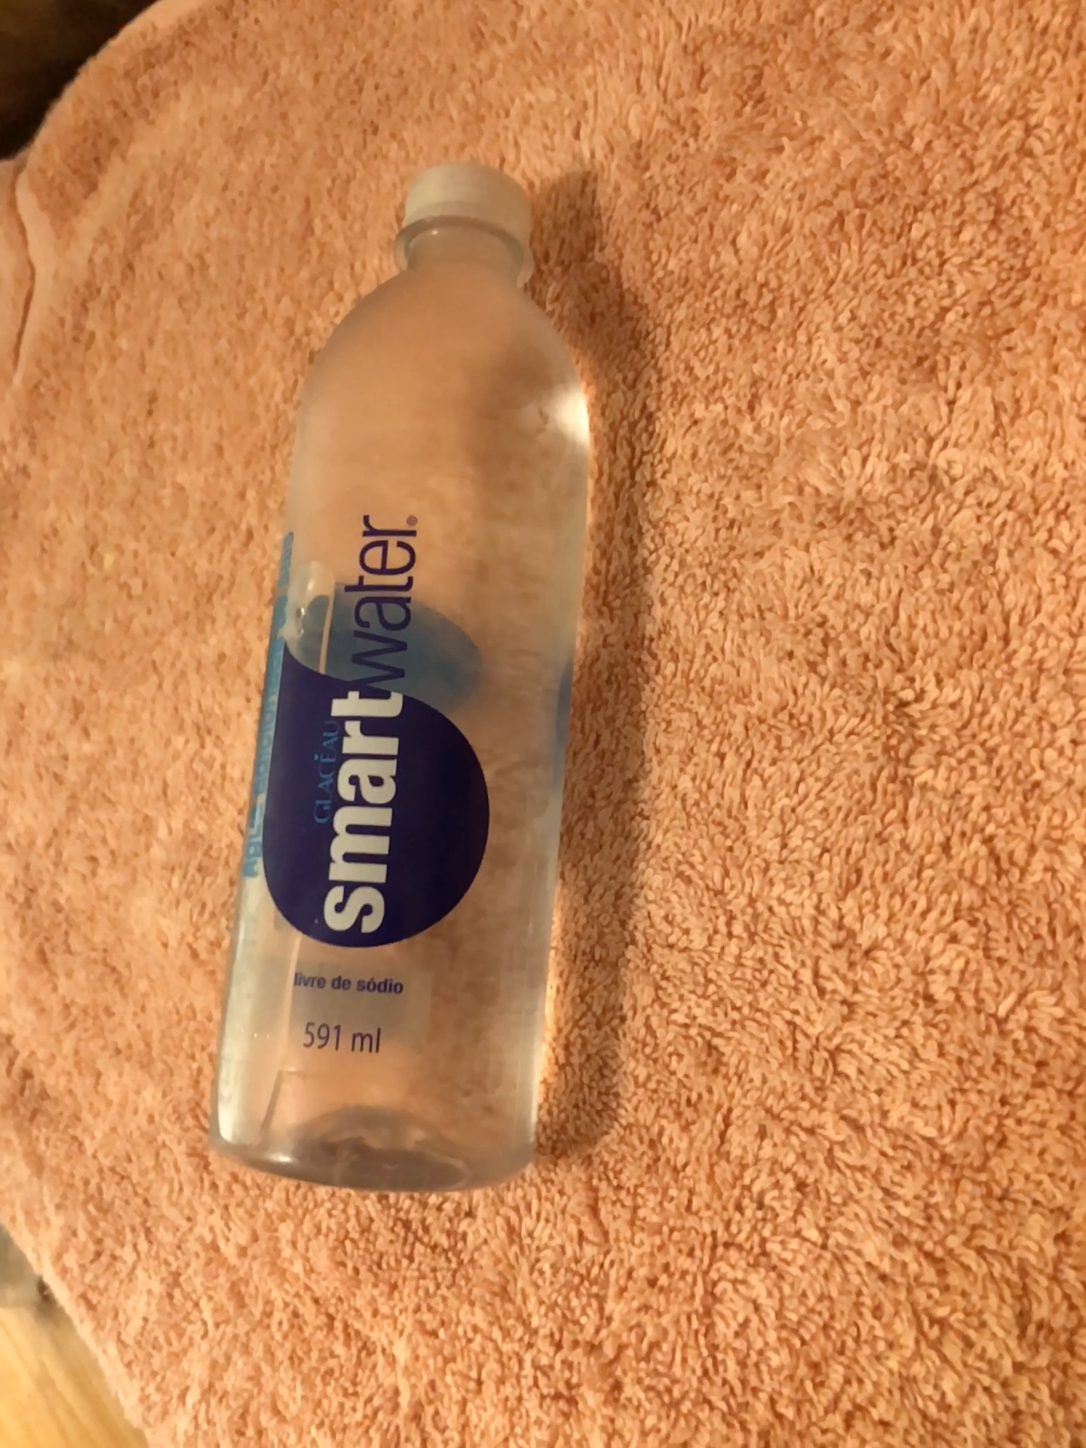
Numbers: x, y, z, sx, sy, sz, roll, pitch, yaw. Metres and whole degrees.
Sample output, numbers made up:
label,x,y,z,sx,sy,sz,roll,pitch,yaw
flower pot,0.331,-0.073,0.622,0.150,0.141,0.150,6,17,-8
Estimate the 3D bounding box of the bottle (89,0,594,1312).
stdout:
label,x,y,z,sx,sy,sz,roll,pitch,yaw
bottle,-0.039,-0.015,0.252,0.080,0.050,0.230,-5,79,38
